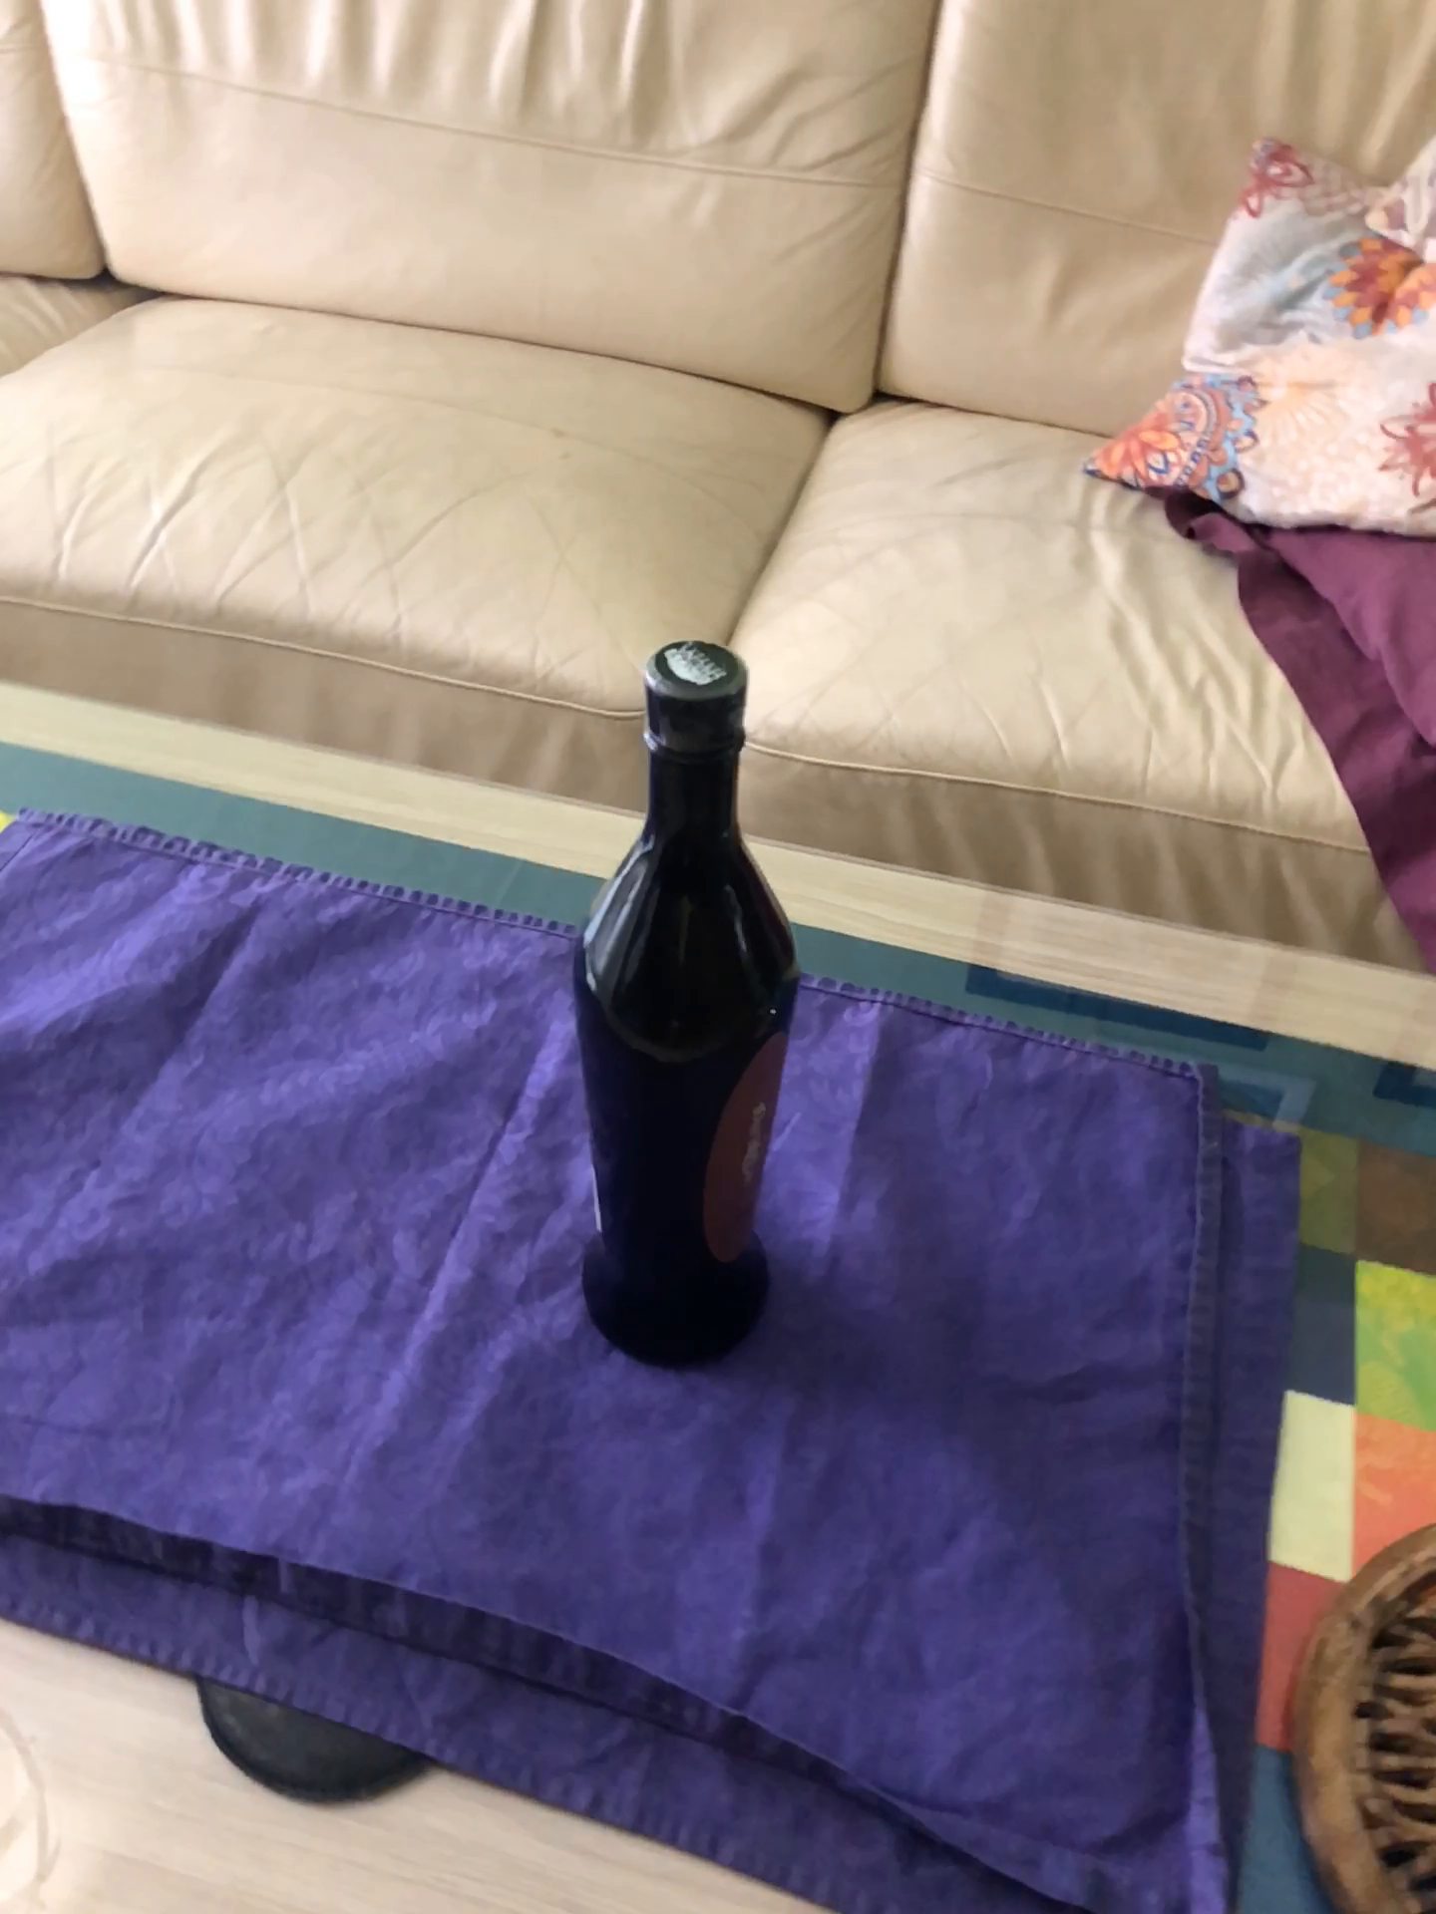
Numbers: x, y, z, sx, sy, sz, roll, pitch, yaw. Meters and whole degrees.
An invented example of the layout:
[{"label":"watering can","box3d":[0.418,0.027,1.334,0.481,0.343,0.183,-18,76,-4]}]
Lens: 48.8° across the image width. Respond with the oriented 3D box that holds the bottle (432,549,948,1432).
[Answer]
[{"label":"bottle","box3d":[-0.012,0.025,0.529,0.100,0.279,0.100,2,45,-2]}]
